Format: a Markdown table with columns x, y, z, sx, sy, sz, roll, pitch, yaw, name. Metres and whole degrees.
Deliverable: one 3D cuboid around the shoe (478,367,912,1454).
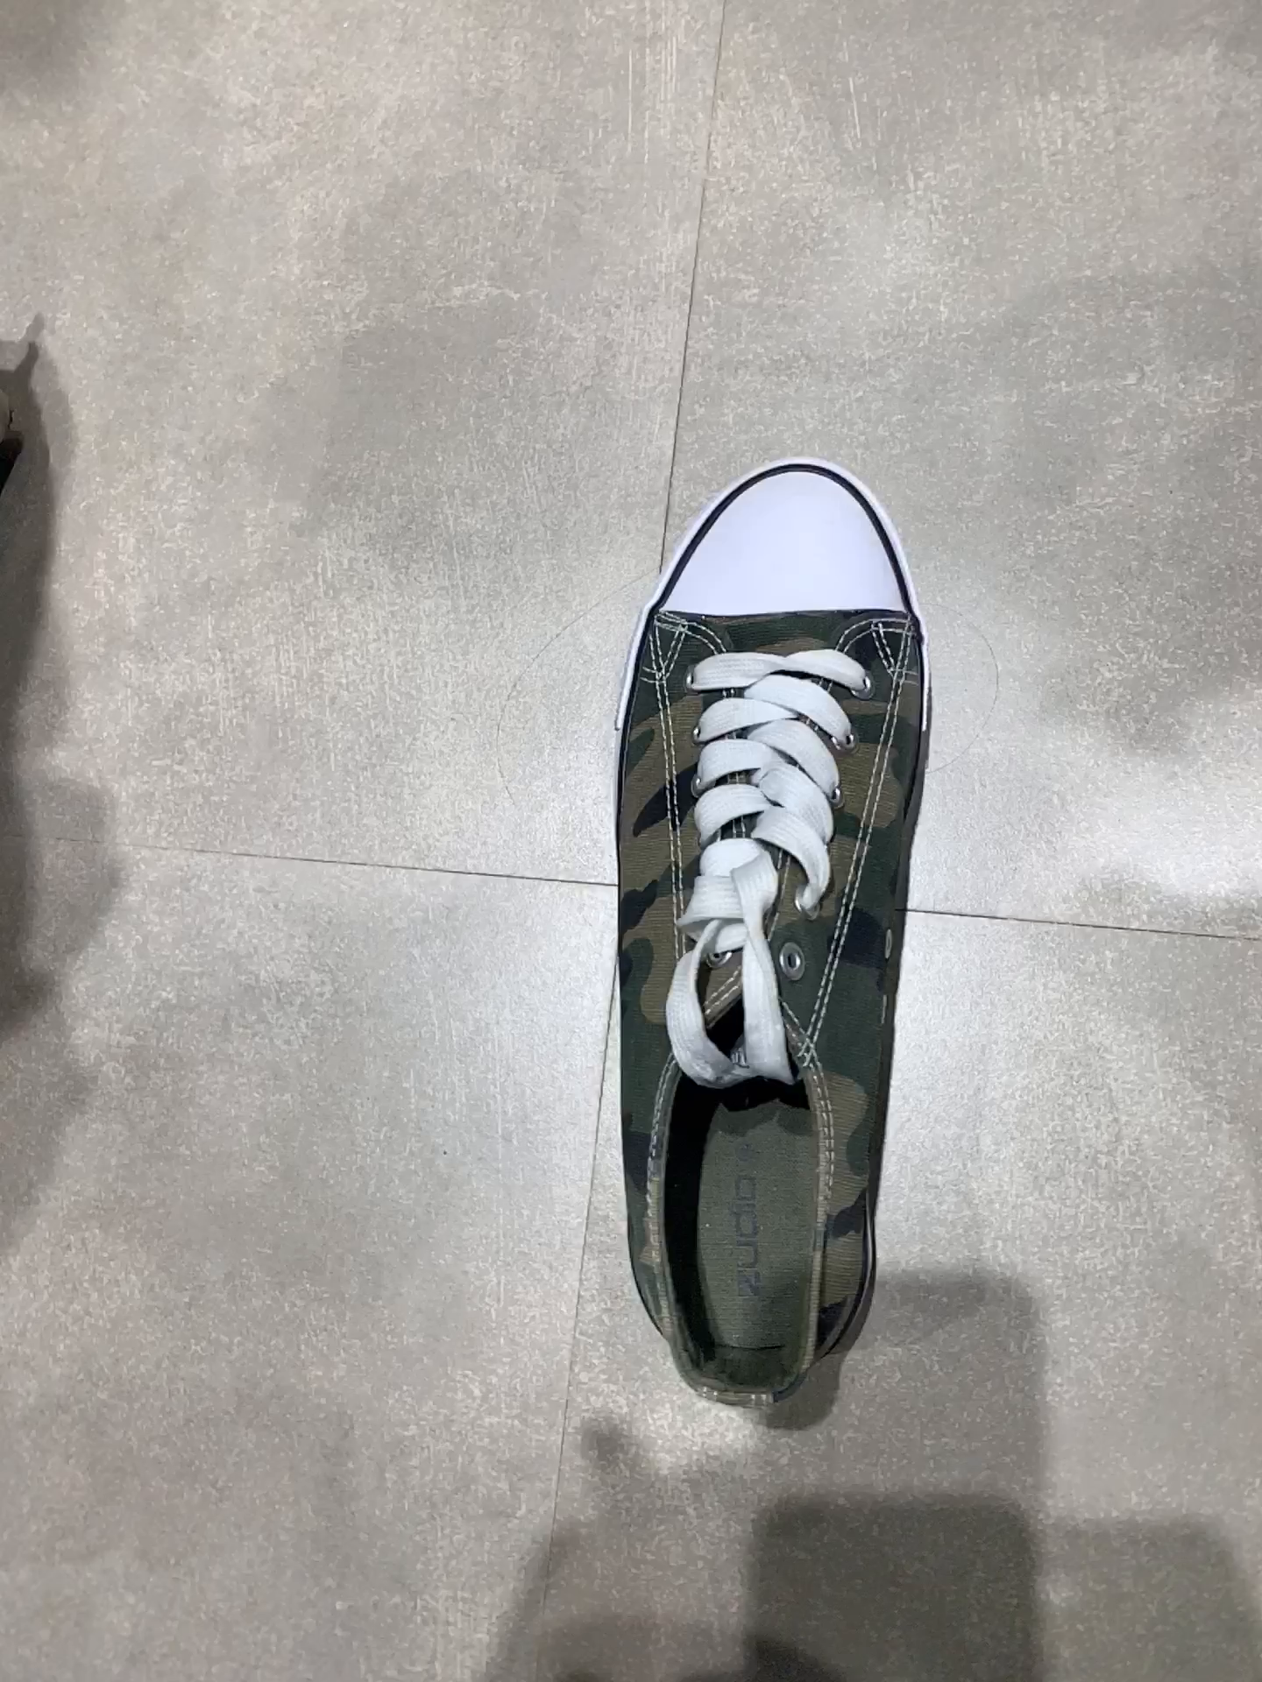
| x | y | z | sx | sy | sz | roll | pitch | yaw | name |
| --- | --- | --- | --- | --- | --- | --- | --- | --- | --- |
| 0.025 | 0.013 | 0.359 | 0.099 | 0.079 | 0.266 | 0 | 78 | 9 | shoe |
